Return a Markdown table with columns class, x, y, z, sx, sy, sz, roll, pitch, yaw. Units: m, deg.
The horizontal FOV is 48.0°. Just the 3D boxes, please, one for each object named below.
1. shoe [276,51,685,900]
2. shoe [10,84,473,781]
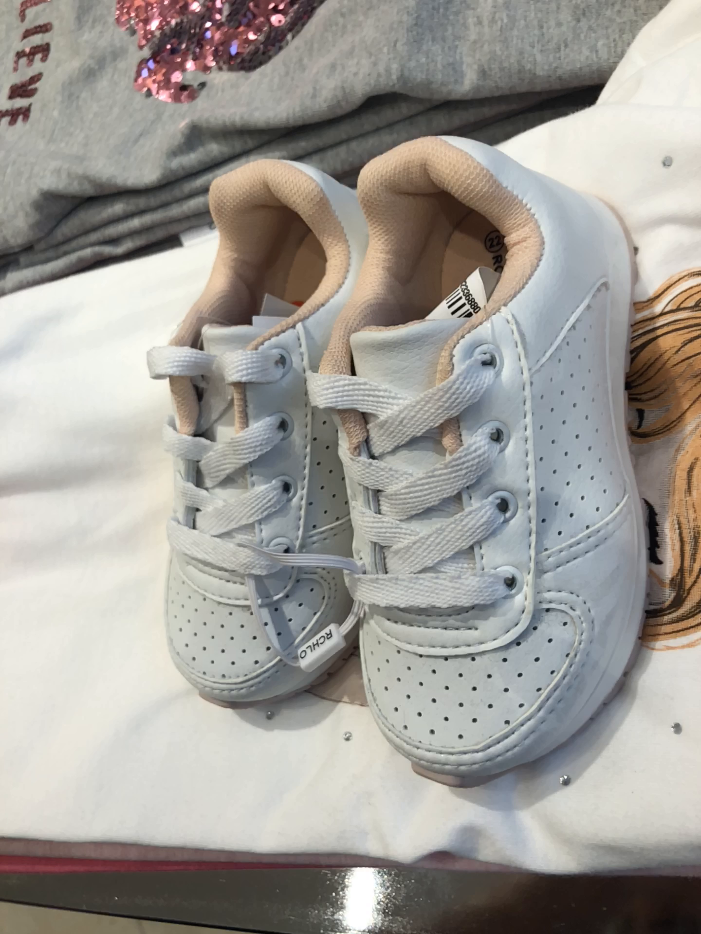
| class | x | y | z | sx | sy | sz | roll | pitch | yaw |
| --- | --- | --- | --- | --- | --- | --- | --- | --- | --- |
| shoe | 0.036 | 0.000 | 0.191 | 0.080 | 0.060 | 0.160 | 1 | 85 | 24 |
| shoe | -0.027 | -0.012 | 0.221 | 0.080 | 0.060 | 0.160 | 11 | 89 | 26 |
